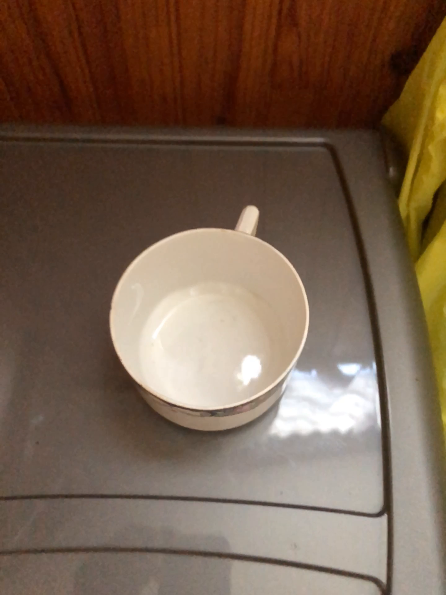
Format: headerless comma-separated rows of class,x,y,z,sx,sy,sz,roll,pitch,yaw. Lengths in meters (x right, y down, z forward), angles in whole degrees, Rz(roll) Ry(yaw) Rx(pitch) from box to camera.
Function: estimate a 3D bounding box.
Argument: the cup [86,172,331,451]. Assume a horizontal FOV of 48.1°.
cup,-0.002,0.006,0.290,0.100,0.060,0.131,12,64,5
